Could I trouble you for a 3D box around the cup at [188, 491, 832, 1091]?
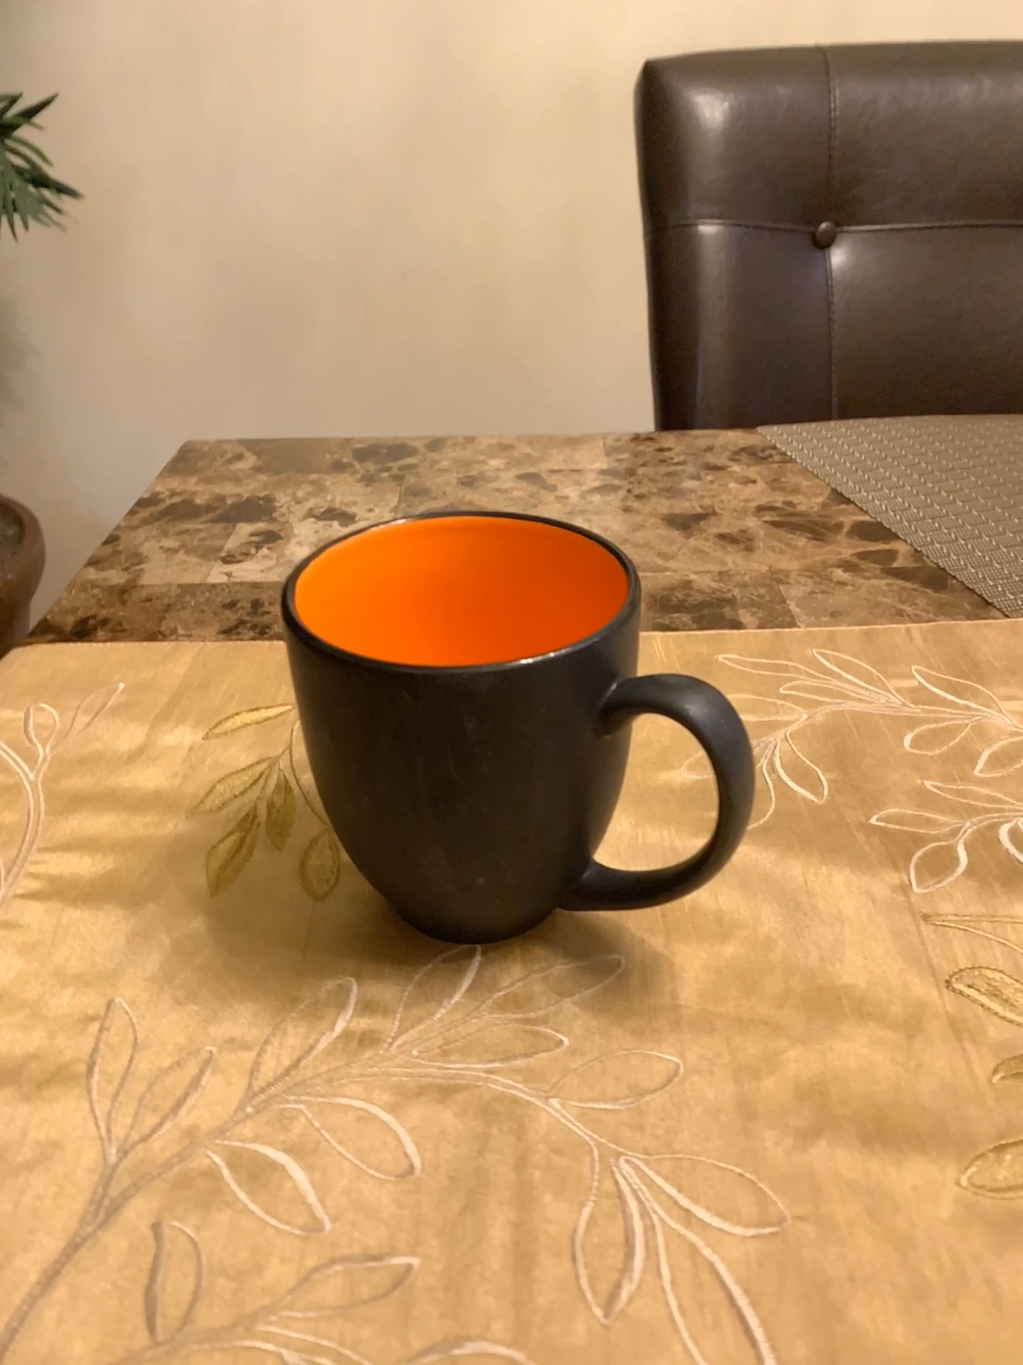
[{"bbox_3d":[0.000,0.017,0.292,0.133,0.087,0.100,20,37,32],"label":"cup"}]
